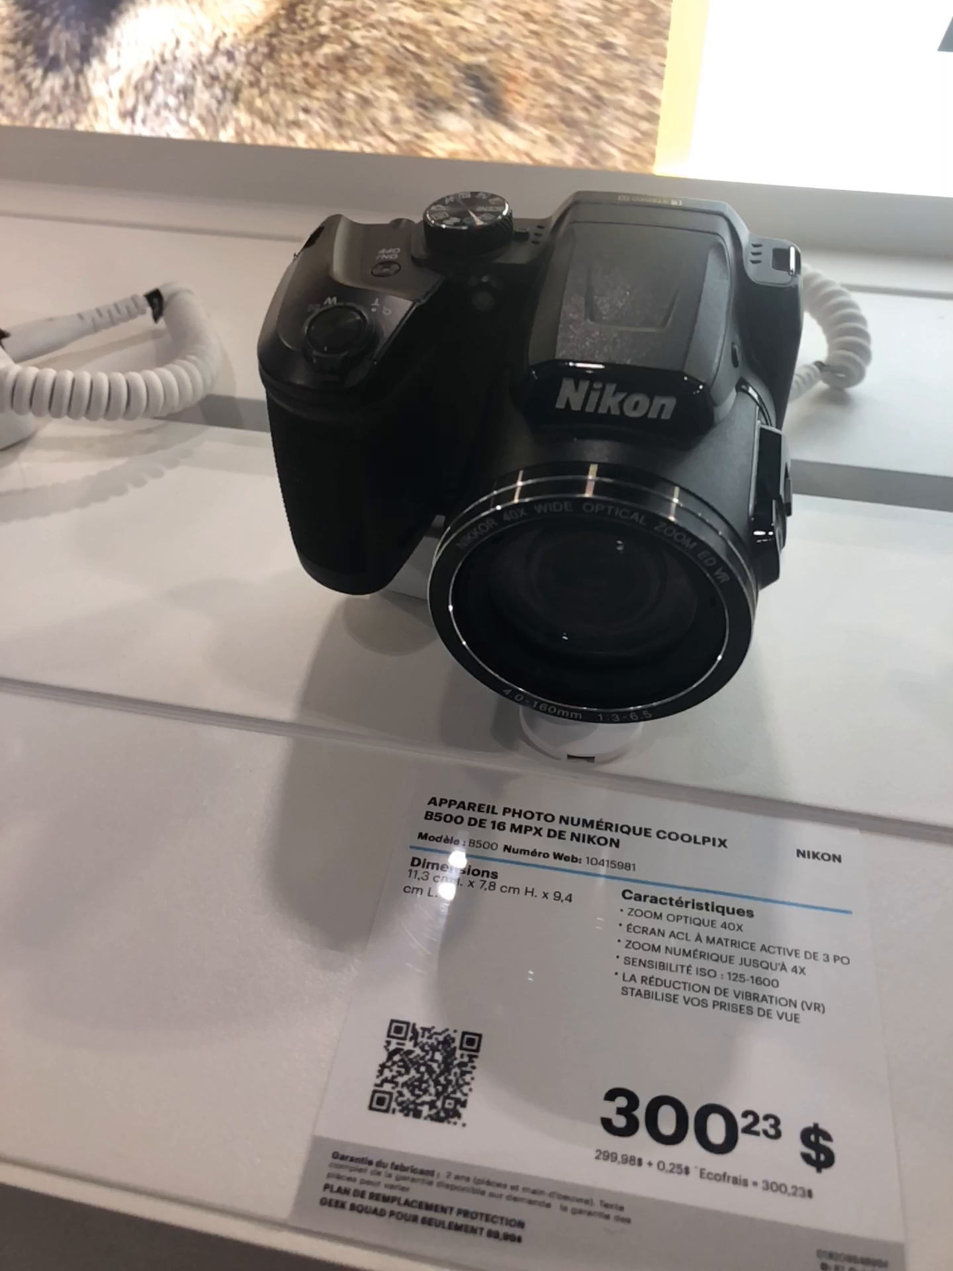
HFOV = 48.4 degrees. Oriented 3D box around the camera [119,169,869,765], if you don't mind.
[{"bbox_3d":[0.008,-0.038,0.208,0.111,0.069,0.085,8,43,9],"label":"camera"}]
